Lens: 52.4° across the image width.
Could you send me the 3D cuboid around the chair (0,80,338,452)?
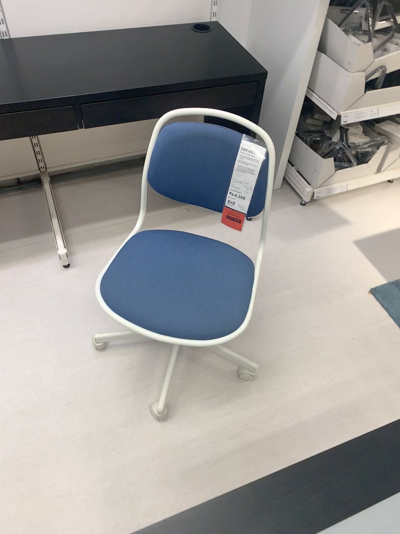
[{"bbox_3d":[-0.057,0.025,1.222,0.640,0.798,0.602,16,50,9],"label":"chair"}]
